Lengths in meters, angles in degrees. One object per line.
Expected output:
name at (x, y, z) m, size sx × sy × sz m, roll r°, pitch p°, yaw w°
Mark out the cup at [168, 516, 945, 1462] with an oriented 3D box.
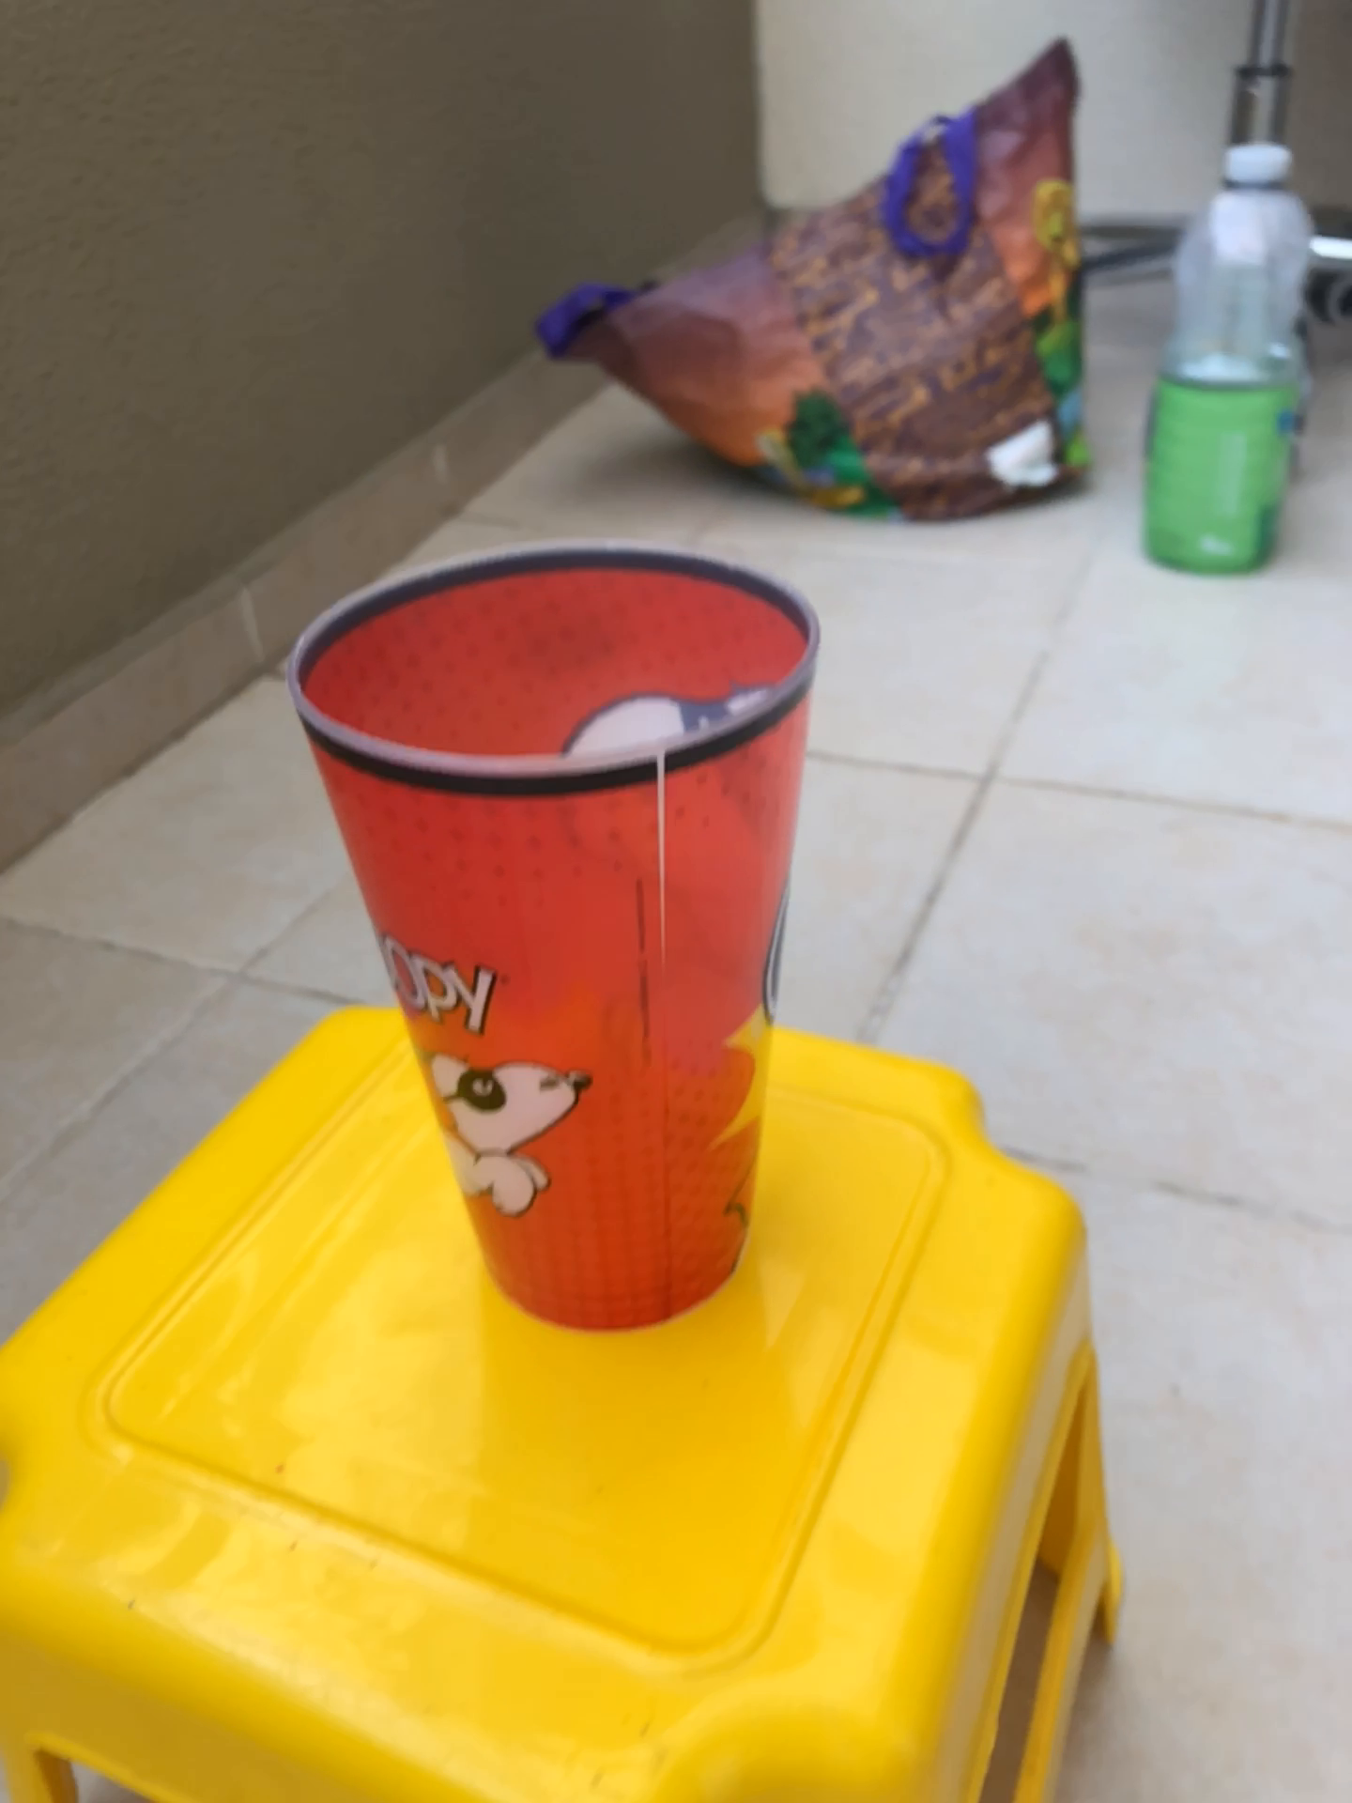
cup at (-0.022, 0.012, 0.322) m, size 0.110 × 0.139 × 0.101 m, roll -2°, pitch 34°, yaw 2°
